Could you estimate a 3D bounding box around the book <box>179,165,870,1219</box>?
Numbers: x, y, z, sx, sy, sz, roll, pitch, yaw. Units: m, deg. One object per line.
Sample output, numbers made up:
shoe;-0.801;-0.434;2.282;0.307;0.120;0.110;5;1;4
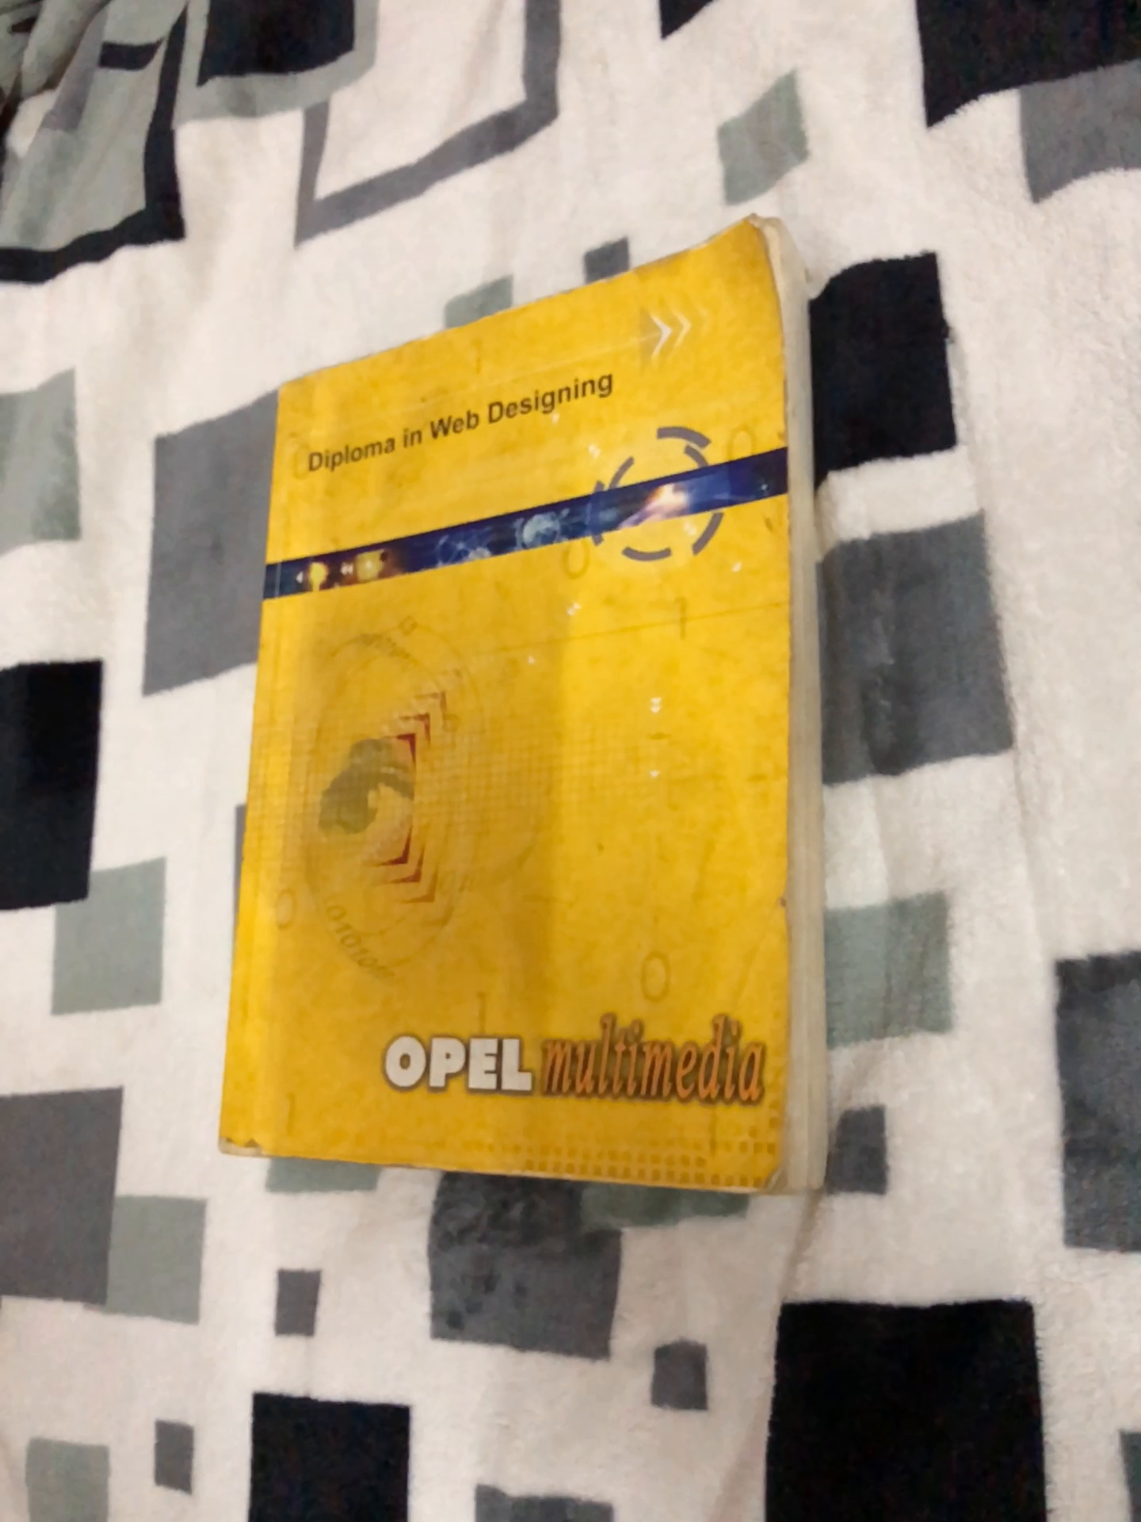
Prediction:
book;-0.017;-0.016;0.444;0.221;0.070;0.310;-6;74;31
